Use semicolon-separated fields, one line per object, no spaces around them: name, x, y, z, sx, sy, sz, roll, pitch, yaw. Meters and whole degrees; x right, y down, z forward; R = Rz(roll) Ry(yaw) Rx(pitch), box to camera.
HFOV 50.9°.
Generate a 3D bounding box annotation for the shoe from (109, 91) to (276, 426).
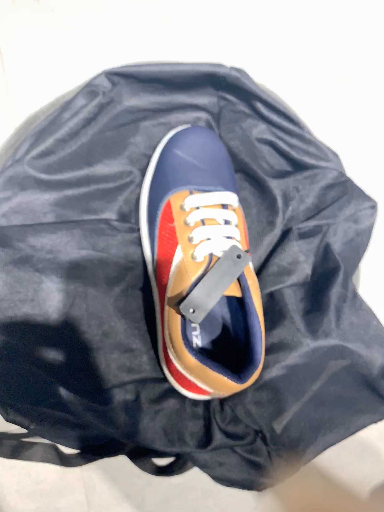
shoe;-0.006;-0.001;0.265;0.080;0.070;0.190;-4;81;-7
